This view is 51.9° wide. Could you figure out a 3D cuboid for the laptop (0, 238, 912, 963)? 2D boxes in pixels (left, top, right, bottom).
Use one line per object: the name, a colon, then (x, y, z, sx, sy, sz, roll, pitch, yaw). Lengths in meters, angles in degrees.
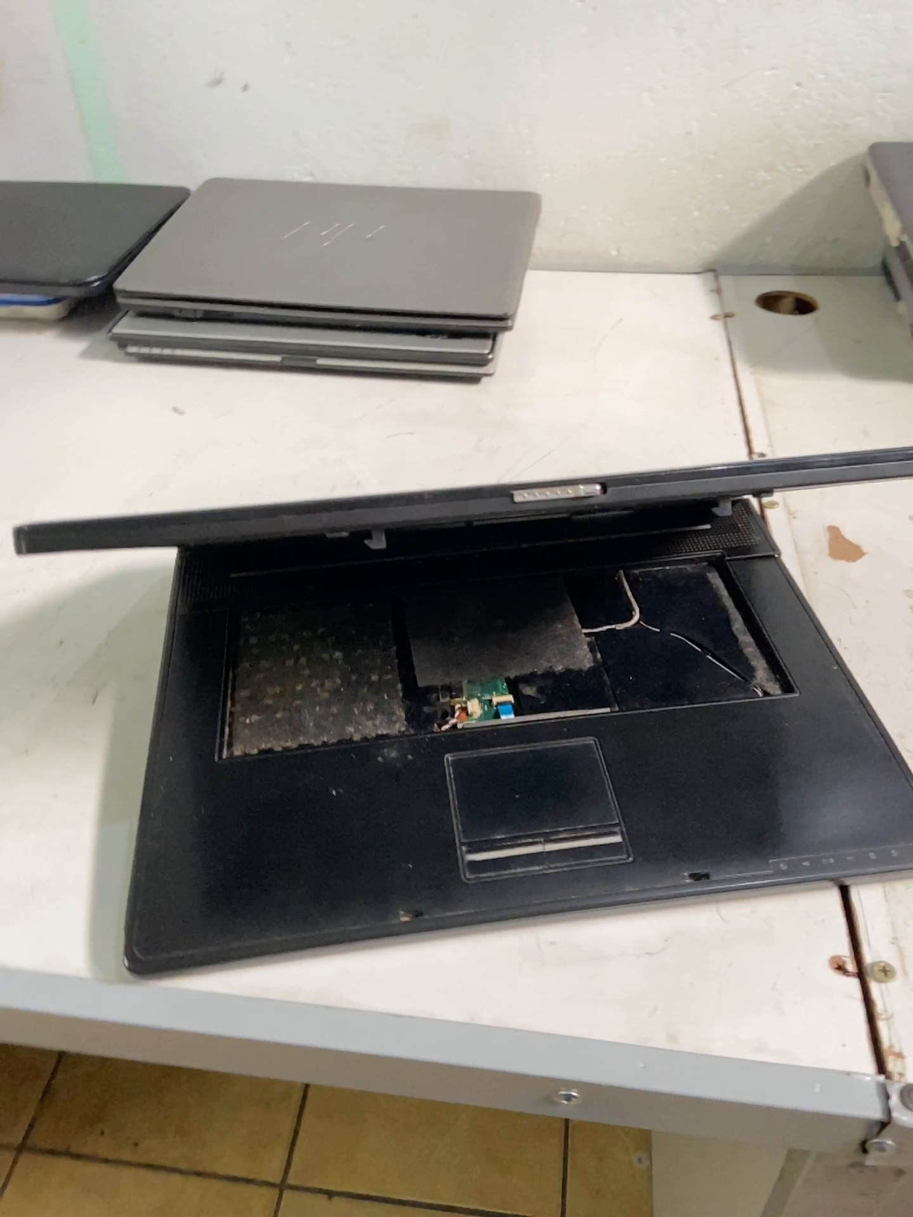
laptop: (0.022, -0.026, 0.433, 0.348, 0.164, 0.261, -6, 43, -5)
